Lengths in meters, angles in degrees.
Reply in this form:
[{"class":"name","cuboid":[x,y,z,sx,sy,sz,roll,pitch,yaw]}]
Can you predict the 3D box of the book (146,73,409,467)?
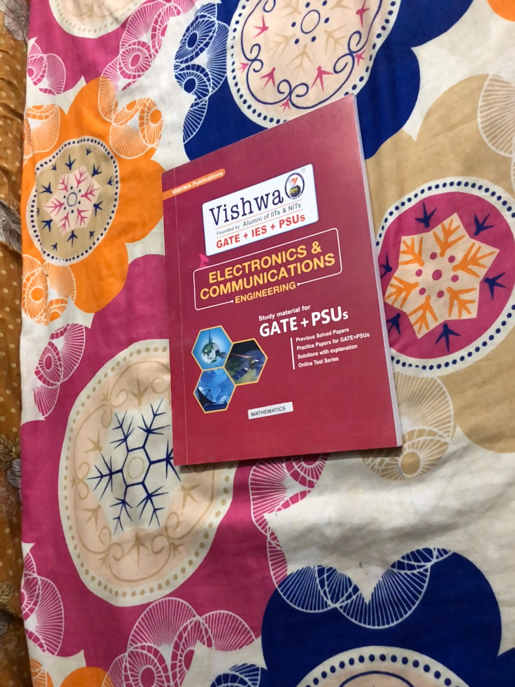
[{"class":"book","cuboid":[0.001,-0.054,0.495,0.217,0.030,0.300,-11,75,28]}]
